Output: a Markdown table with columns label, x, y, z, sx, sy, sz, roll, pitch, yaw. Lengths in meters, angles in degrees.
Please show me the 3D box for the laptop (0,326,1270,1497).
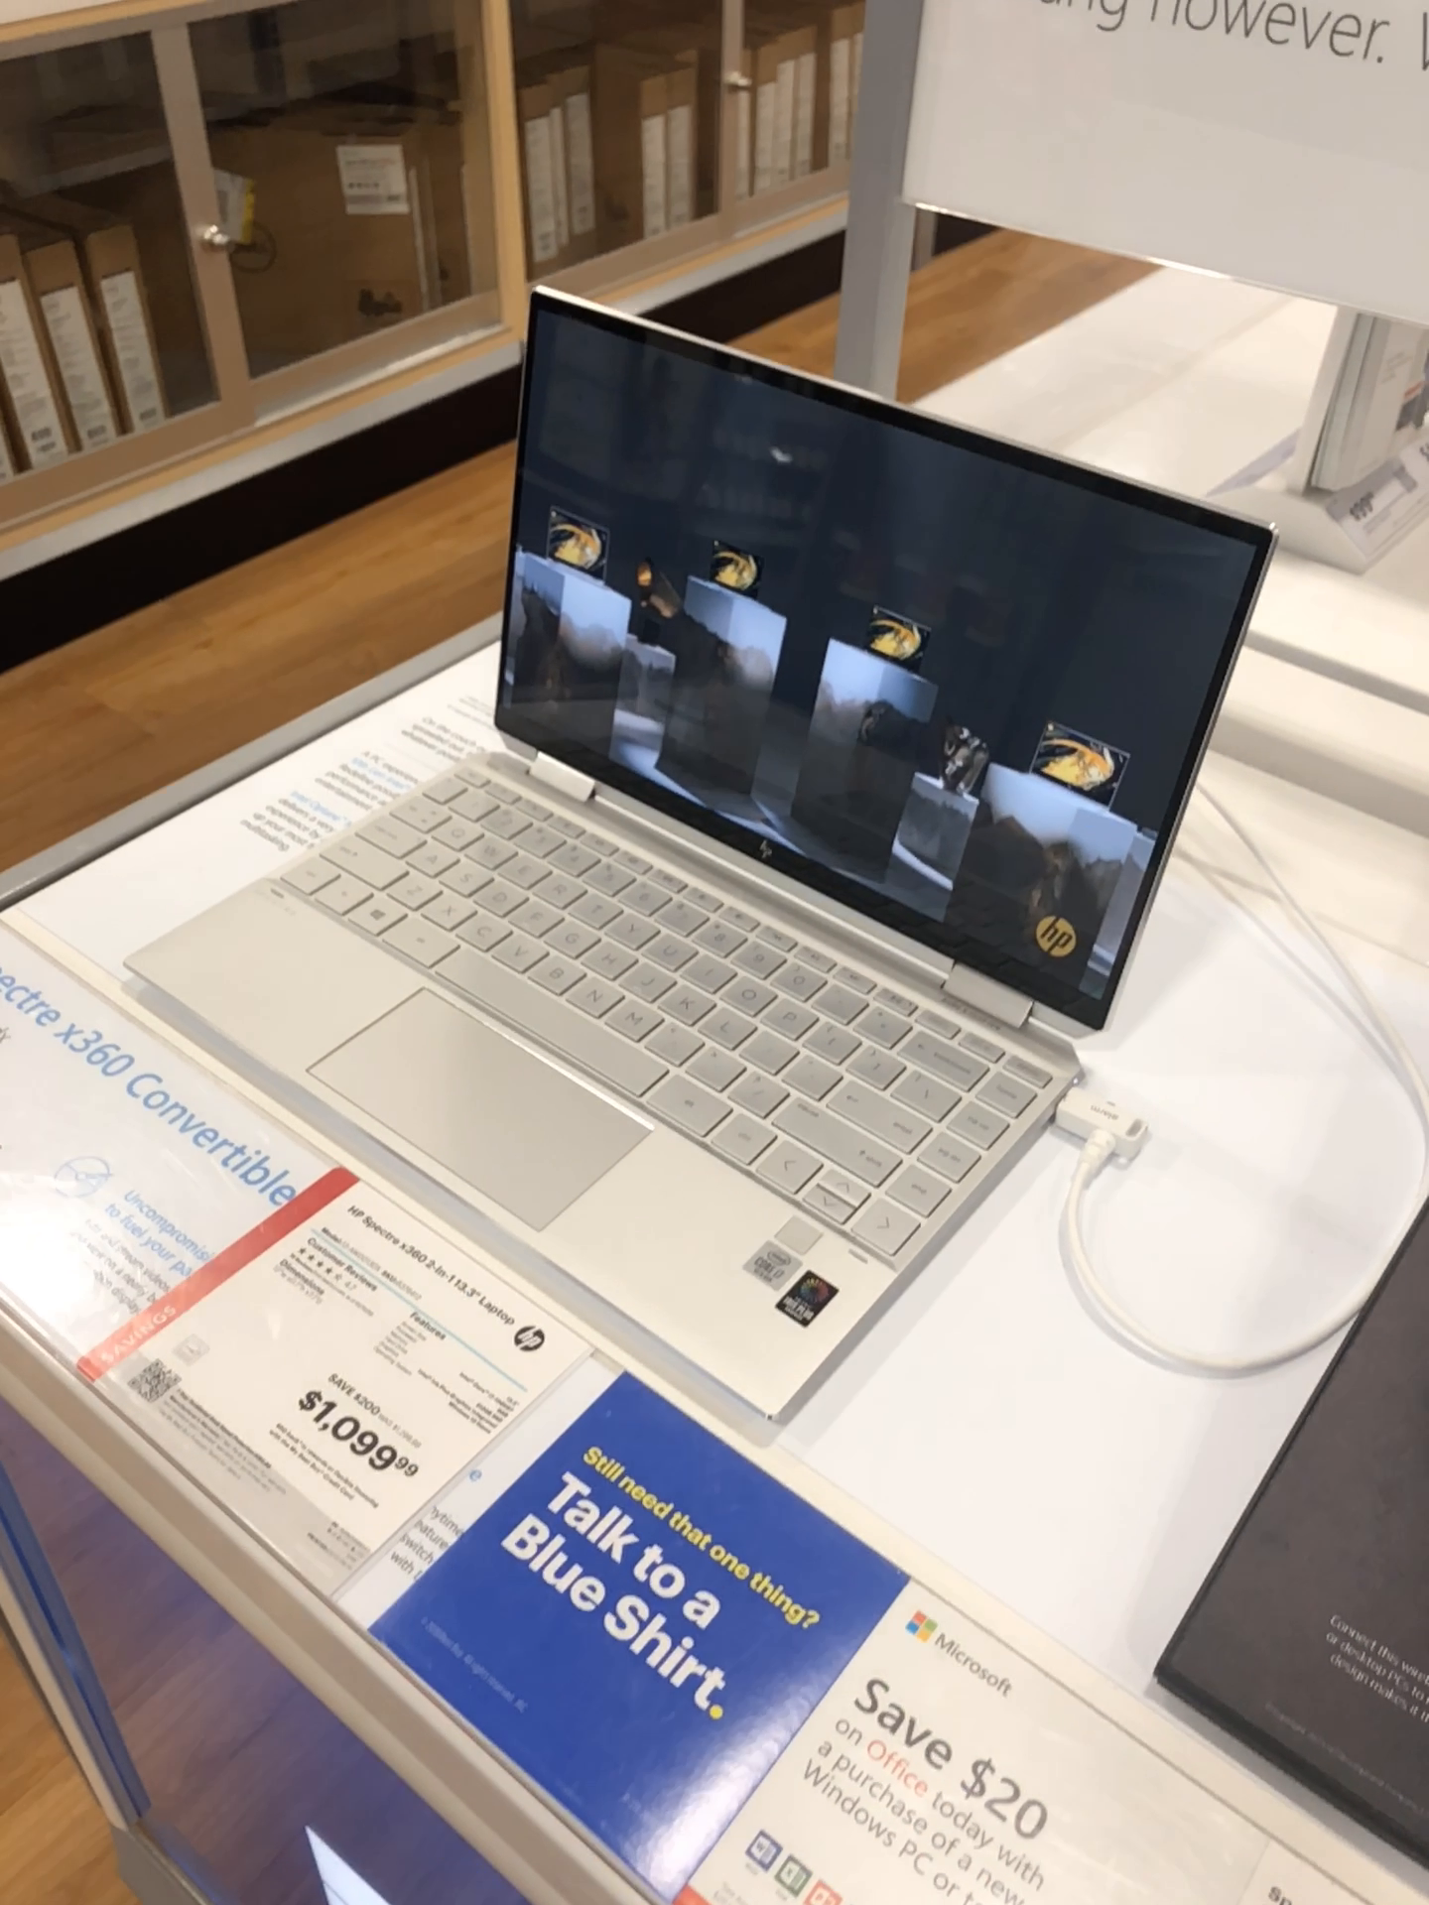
| label | x | y | z | sx | sy | sz | roll | pitch | yaw |
| --- | --- | --- | --- | --- | --- | --- | --- | --- | --- |
| laptop | -0.032 | -0.043 | 0.508 | 0.303 | 0.184 | 0.228 | 29 | 47 | 28 |
